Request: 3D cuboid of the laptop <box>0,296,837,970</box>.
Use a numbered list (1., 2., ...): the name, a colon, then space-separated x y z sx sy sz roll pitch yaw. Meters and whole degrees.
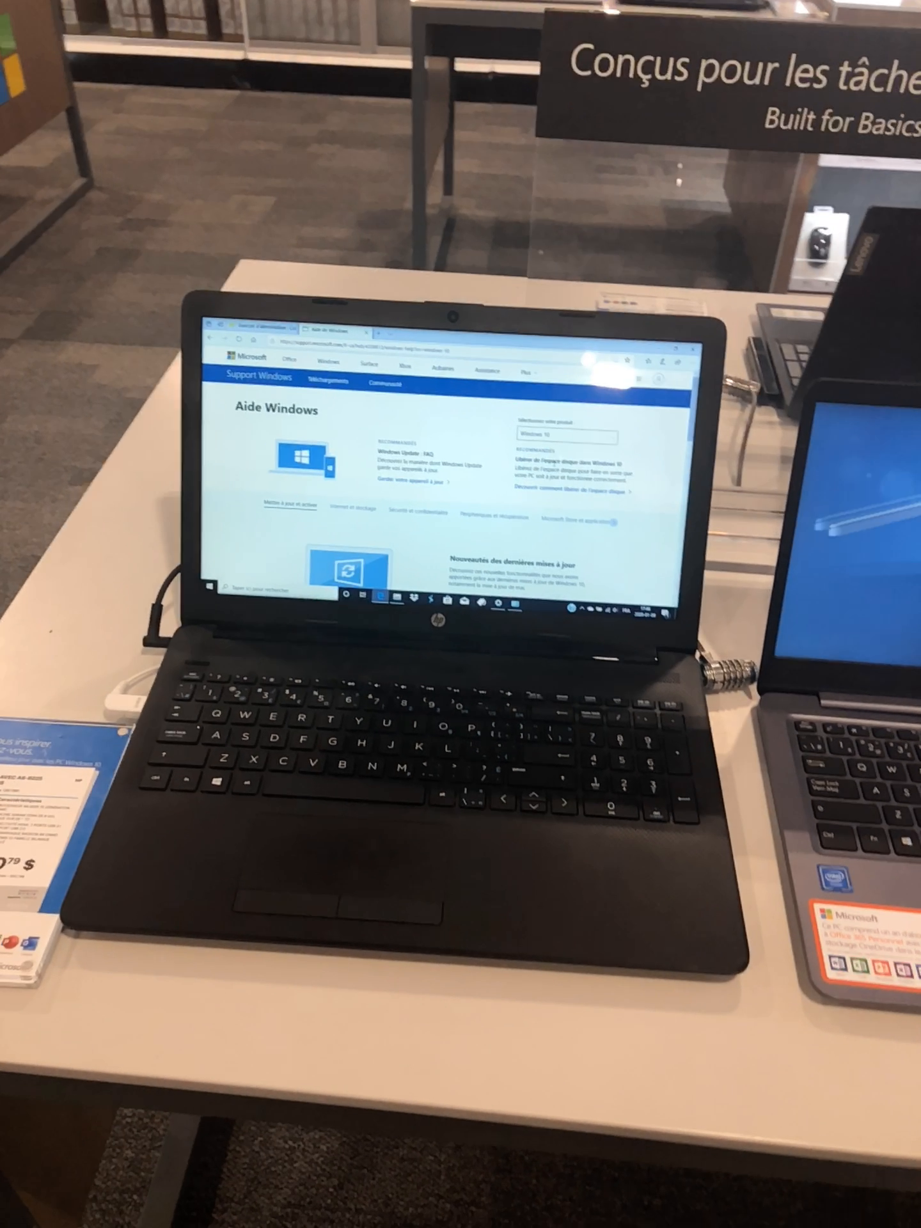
1. laptop: -0.022 -0.017 0.605 0.356 0.195 0.361 3 40 3
